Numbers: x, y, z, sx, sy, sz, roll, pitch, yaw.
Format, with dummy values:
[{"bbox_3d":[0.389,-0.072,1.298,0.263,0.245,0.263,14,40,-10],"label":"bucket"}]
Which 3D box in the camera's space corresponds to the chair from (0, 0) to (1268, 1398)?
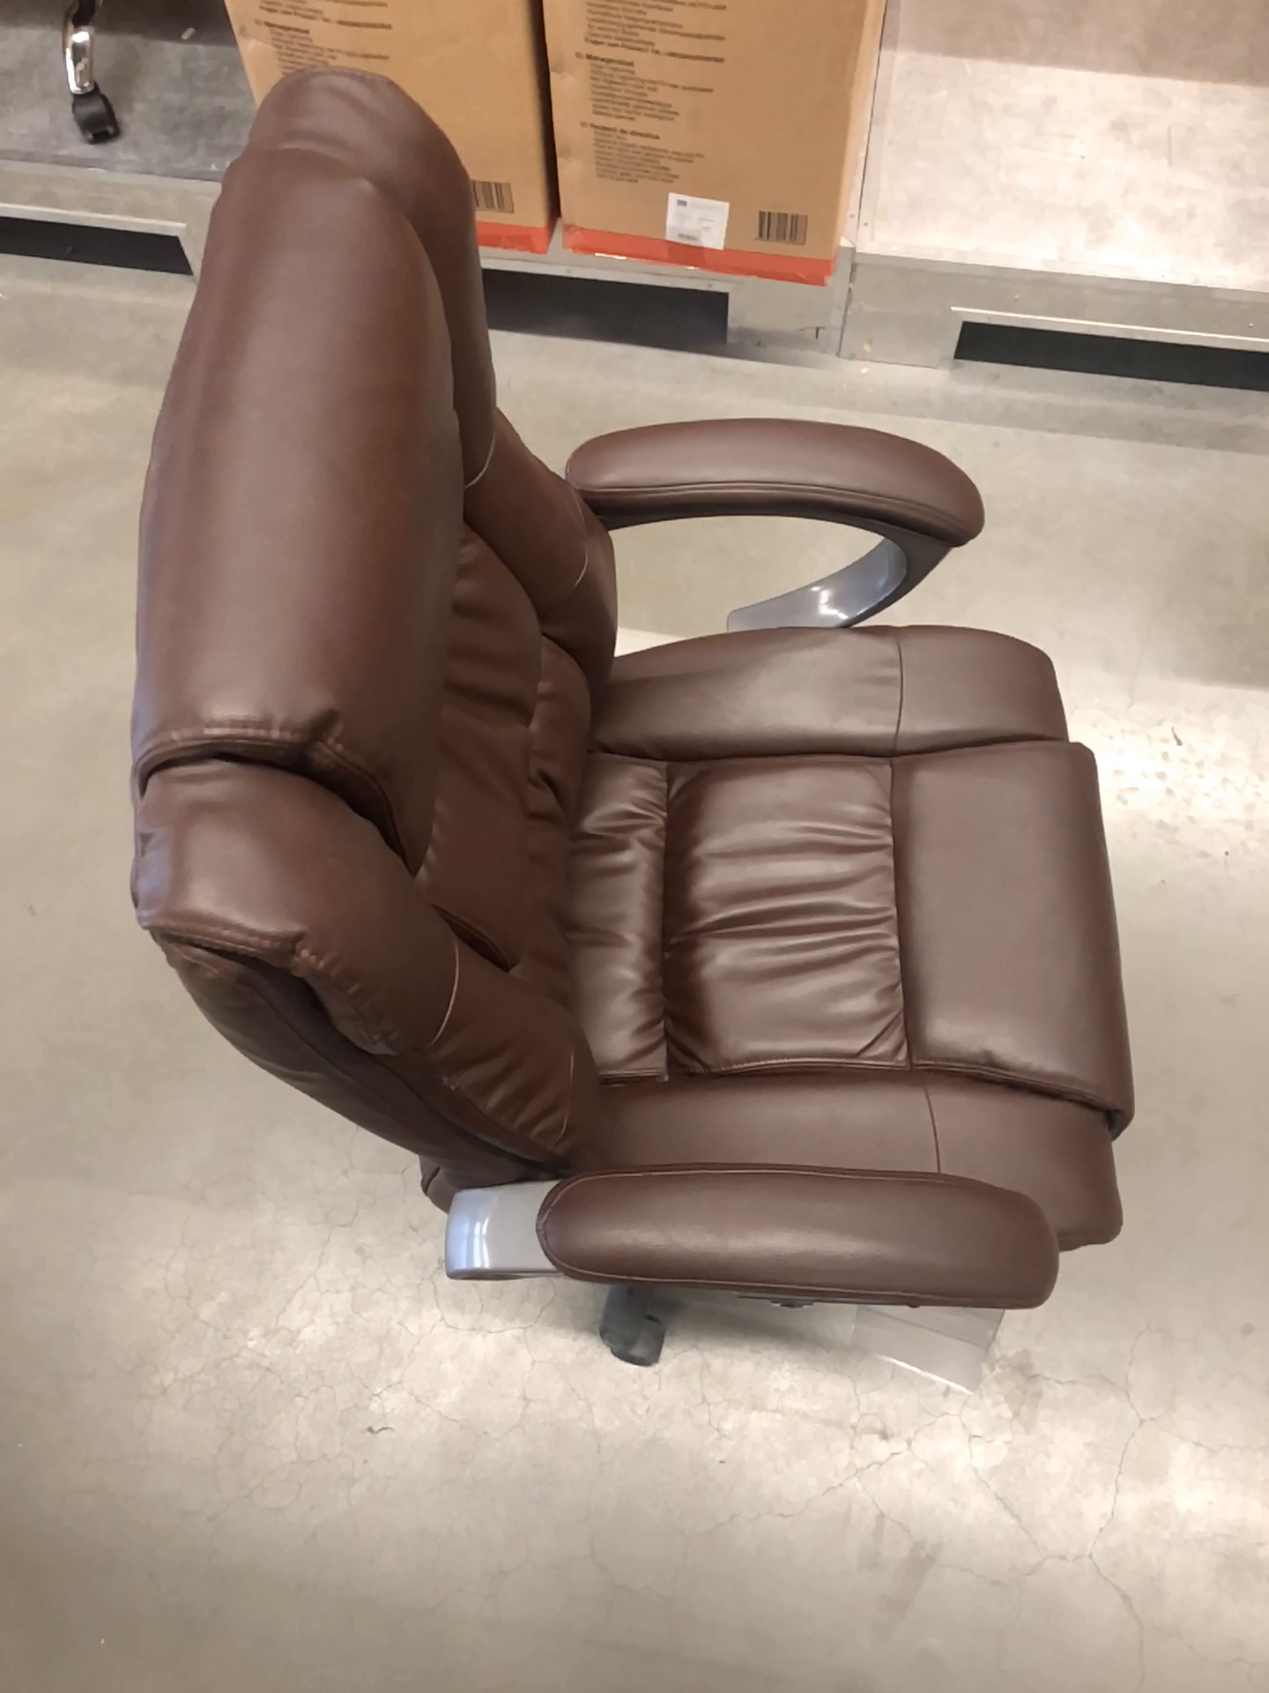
[{"bbox_3d":[0.124,0.030,1.066,0.650,1.097,0.682,2,67,2],"label":"chair"}]
